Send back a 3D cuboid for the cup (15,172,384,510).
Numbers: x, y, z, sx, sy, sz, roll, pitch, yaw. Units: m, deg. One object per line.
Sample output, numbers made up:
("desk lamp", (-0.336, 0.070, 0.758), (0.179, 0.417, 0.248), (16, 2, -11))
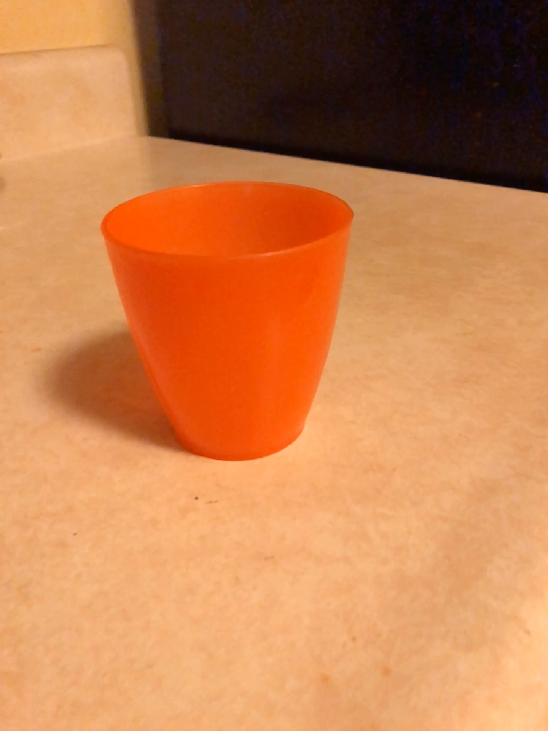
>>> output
("cup", (-0.020, -0.017, 0.205), (0.080, 0.070, 0.080), (-1, 30, 1))
